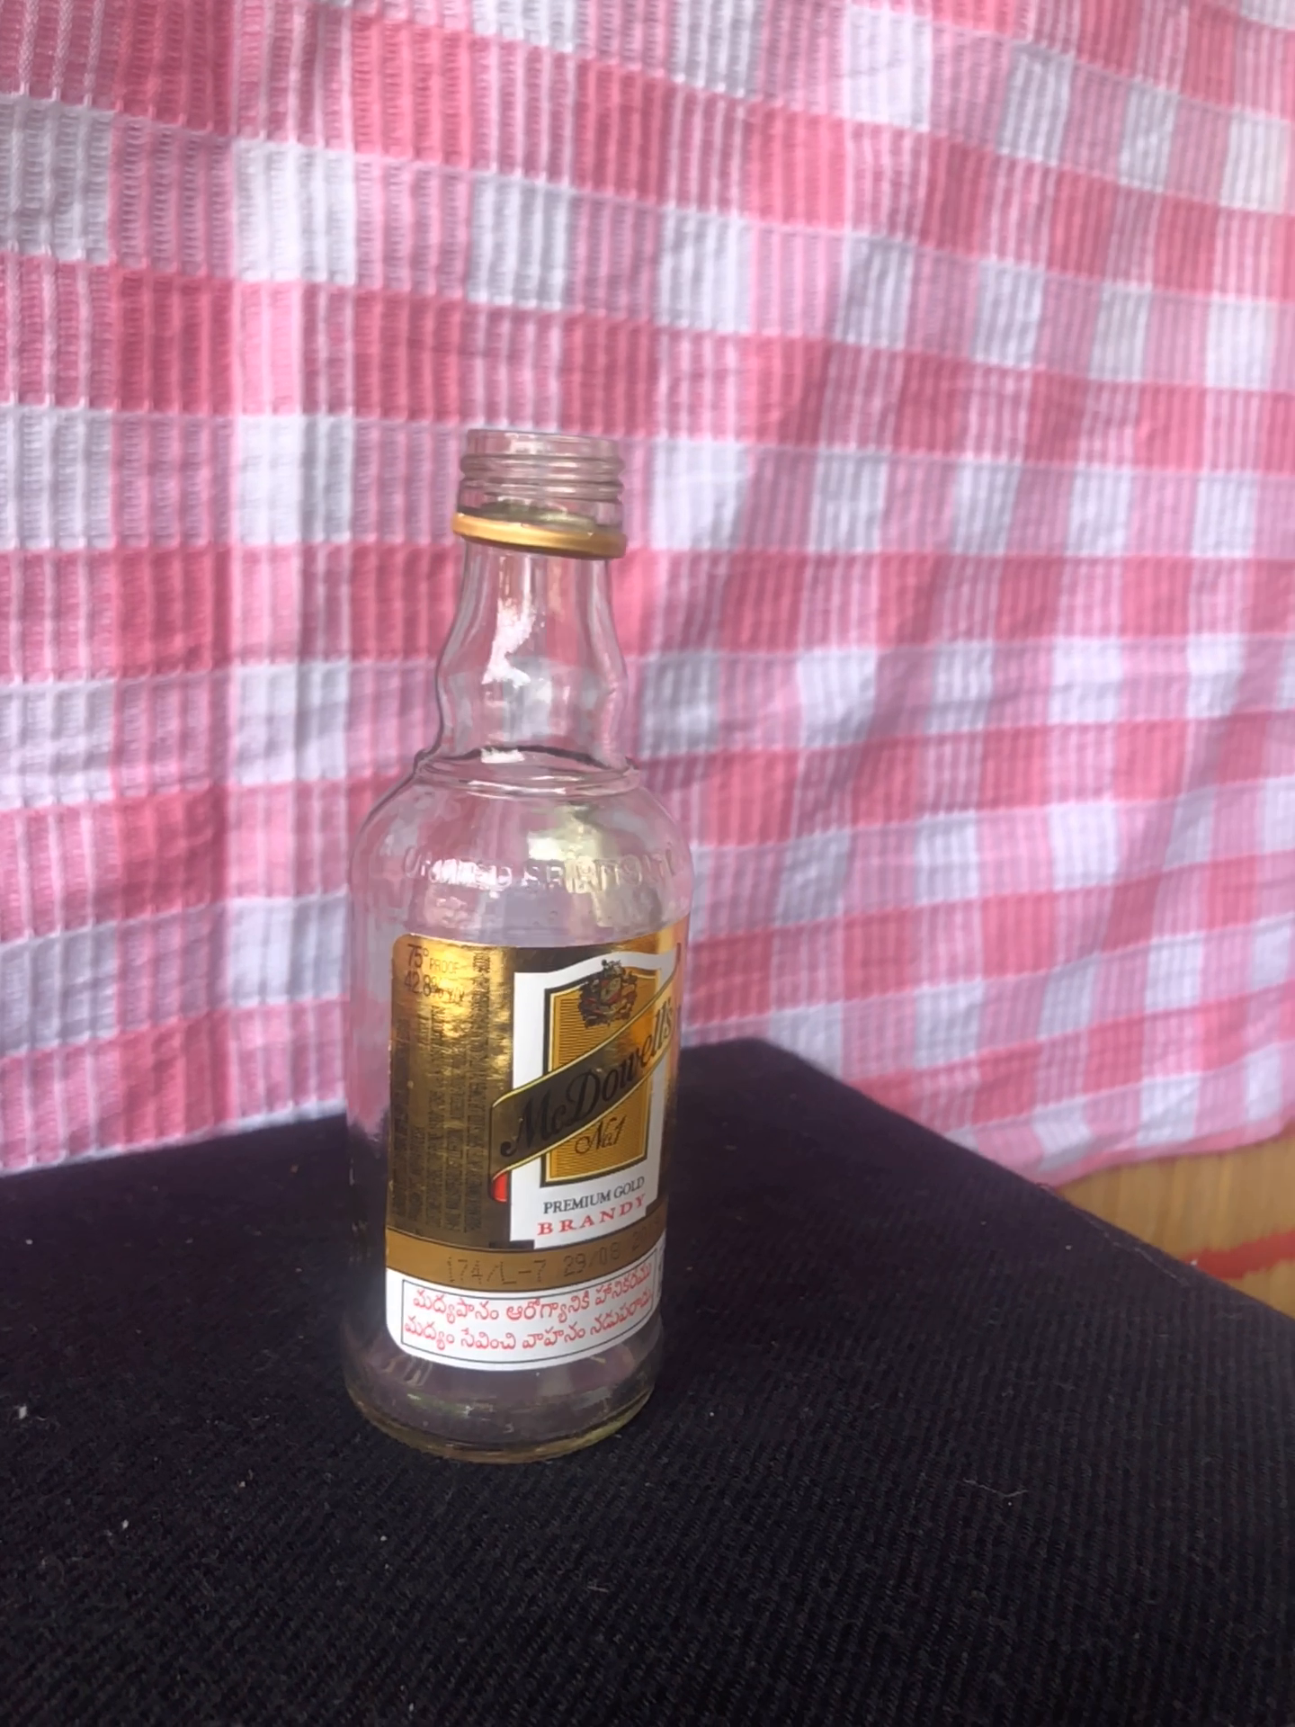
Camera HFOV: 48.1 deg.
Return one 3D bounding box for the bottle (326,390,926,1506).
[{"bbox_3d":[-0.008,0.010,0.221,0.060,0.149,0.050,-3,17,-31],"label":"bottle"}]
